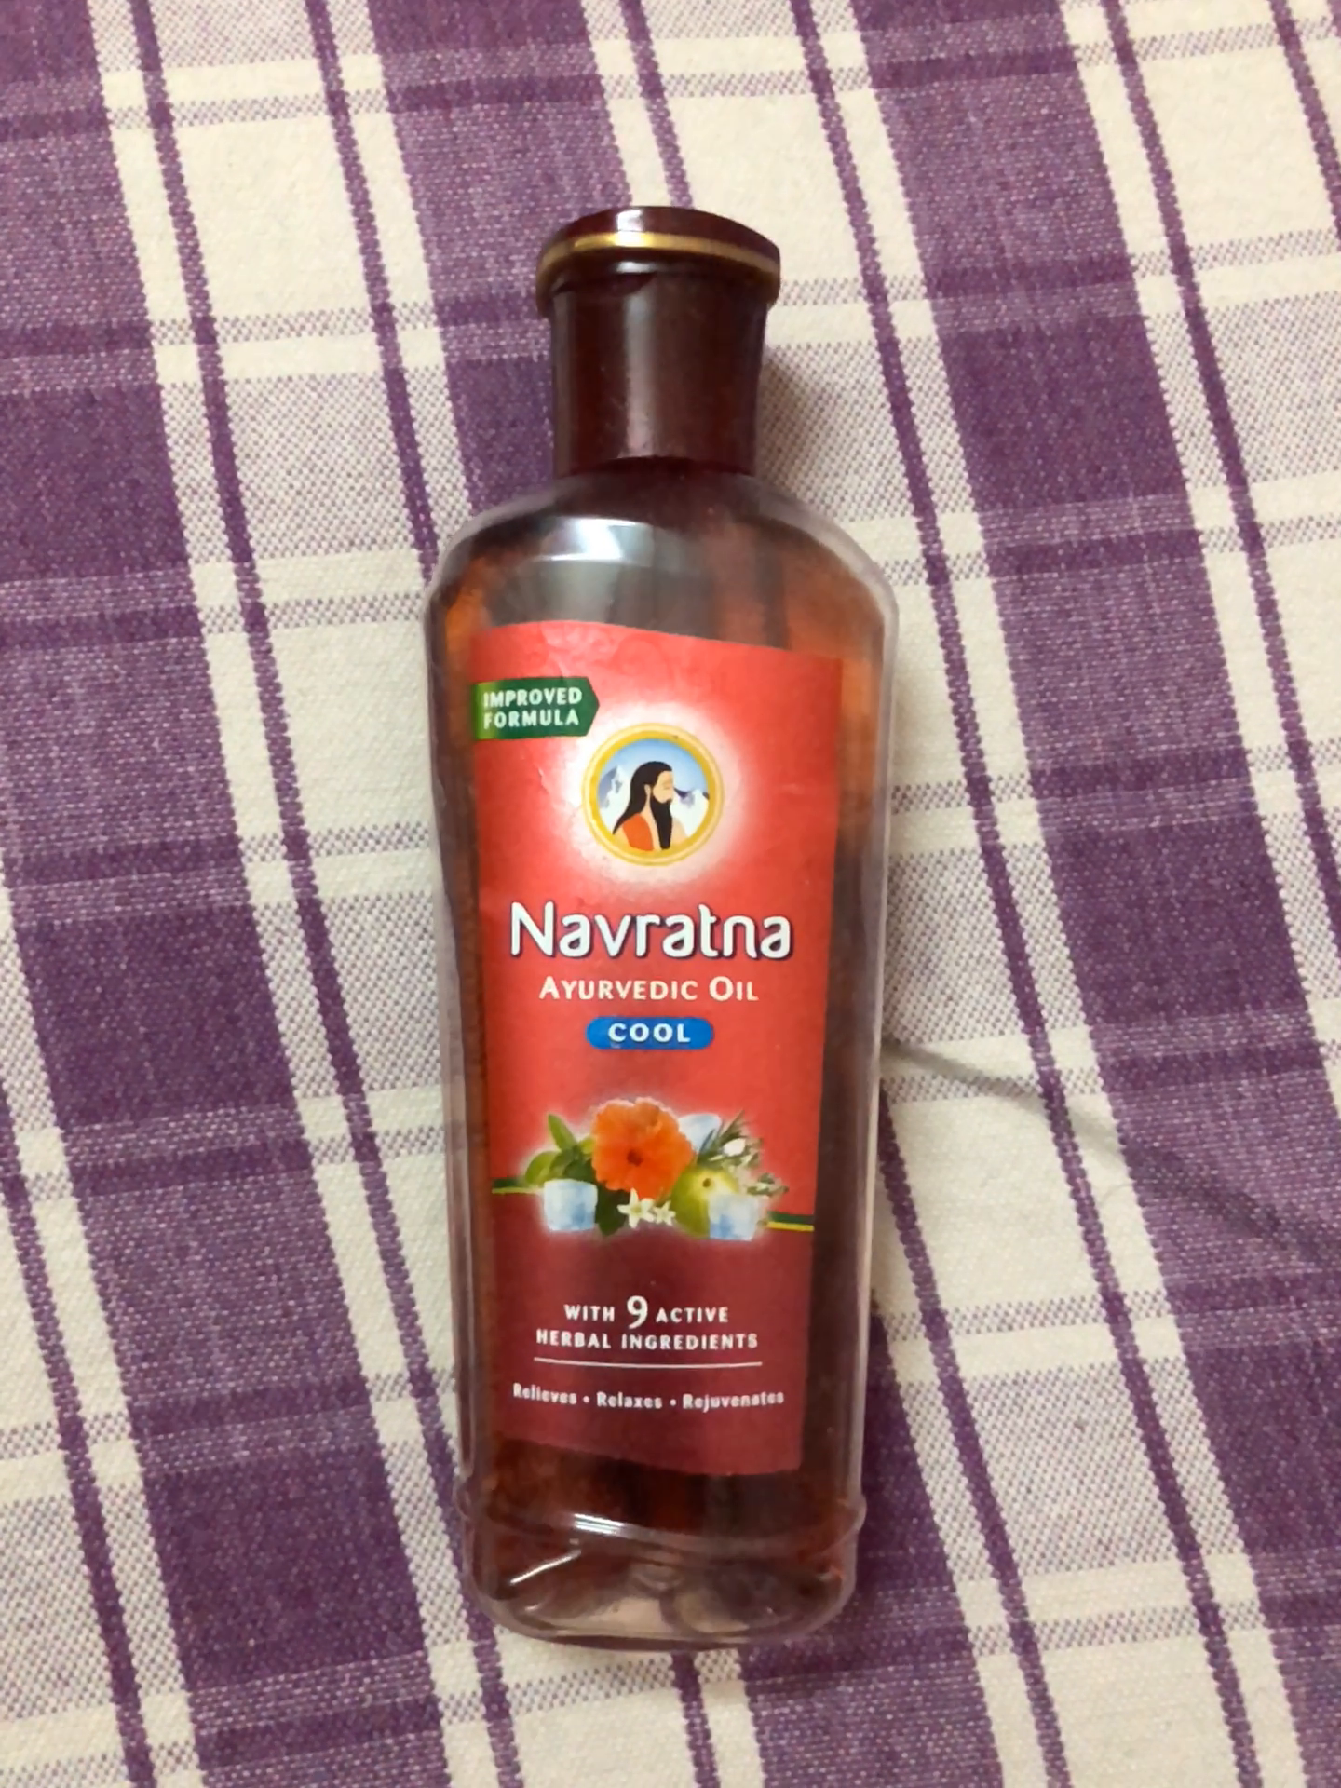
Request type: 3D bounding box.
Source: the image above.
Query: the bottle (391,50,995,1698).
[{"bbox_3d":[0.003,-0.005,0.207,0.070,0.050,0.200,0,86,0],"label":"bottle"}]
